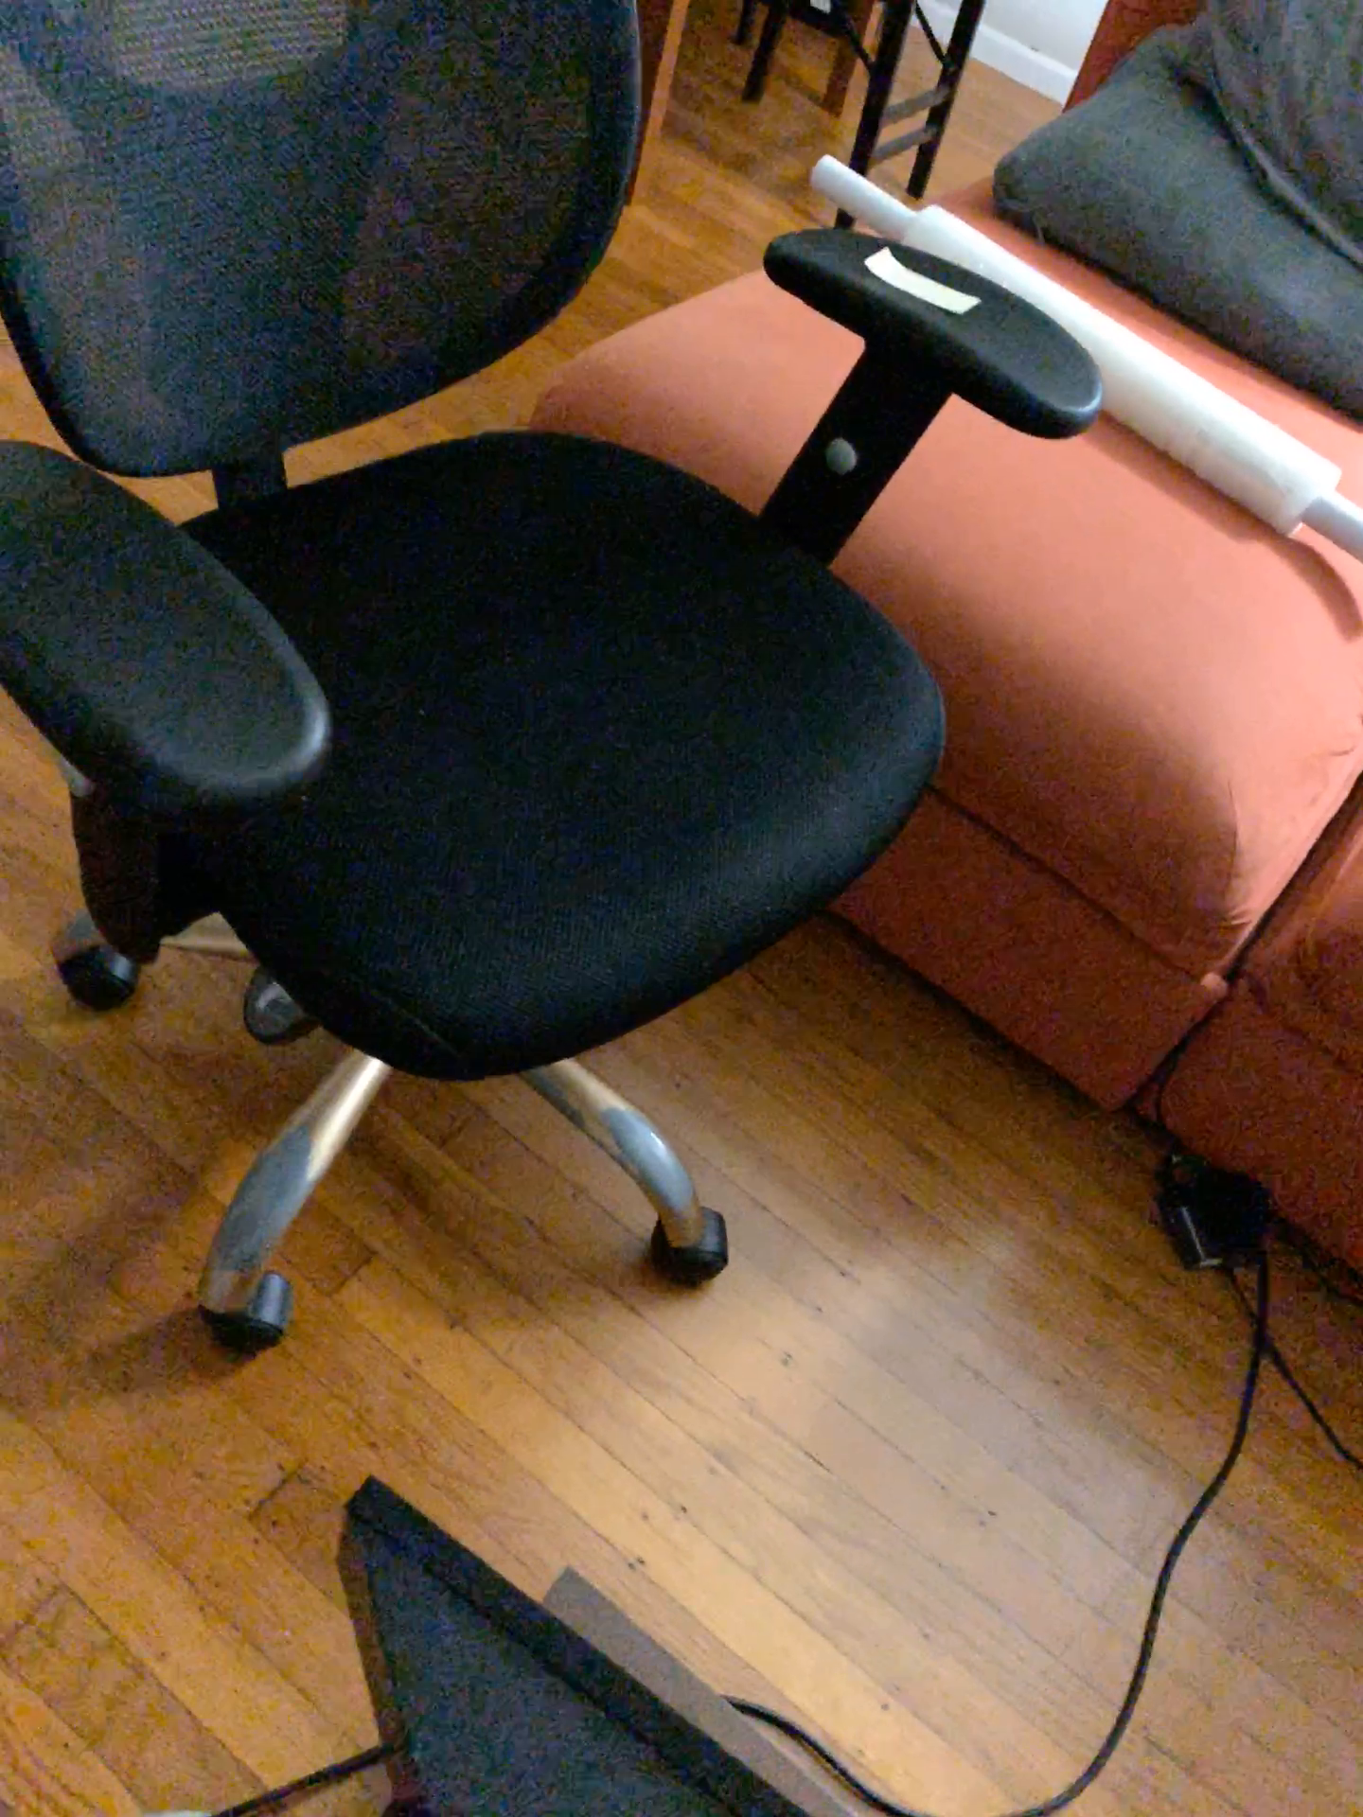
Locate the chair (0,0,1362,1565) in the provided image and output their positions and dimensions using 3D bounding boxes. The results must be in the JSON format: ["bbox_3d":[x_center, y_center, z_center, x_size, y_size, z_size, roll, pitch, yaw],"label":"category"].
[{"bbox_3d":[-0.114,-0.232,0.896,0.642,0.975,0.661,-31,60,-35],"label":"chair"}]
